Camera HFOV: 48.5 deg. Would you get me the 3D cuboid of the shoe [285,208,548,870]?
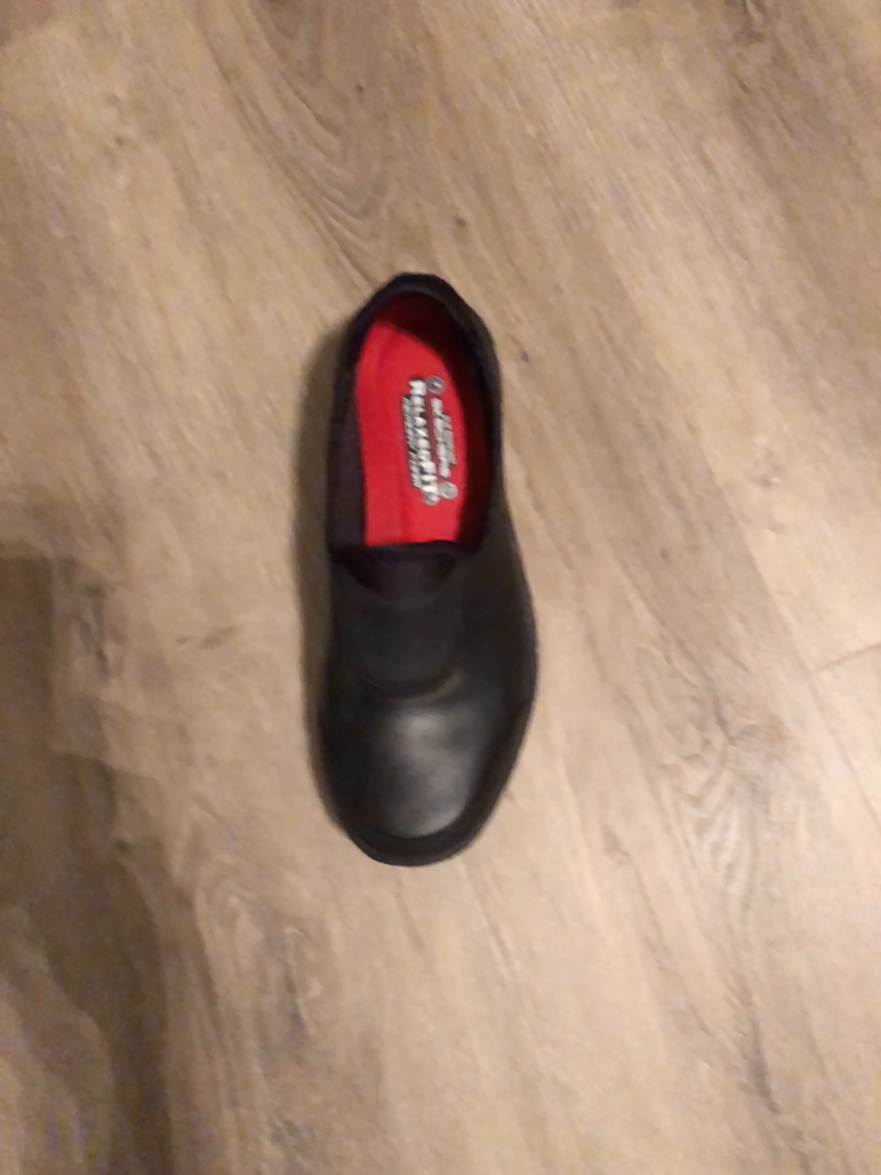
[{"bbox_3d":[-0.010,-0.017,0.396,0.090,0.090,0.240,-1,82,1],"label":"shoe"}]
